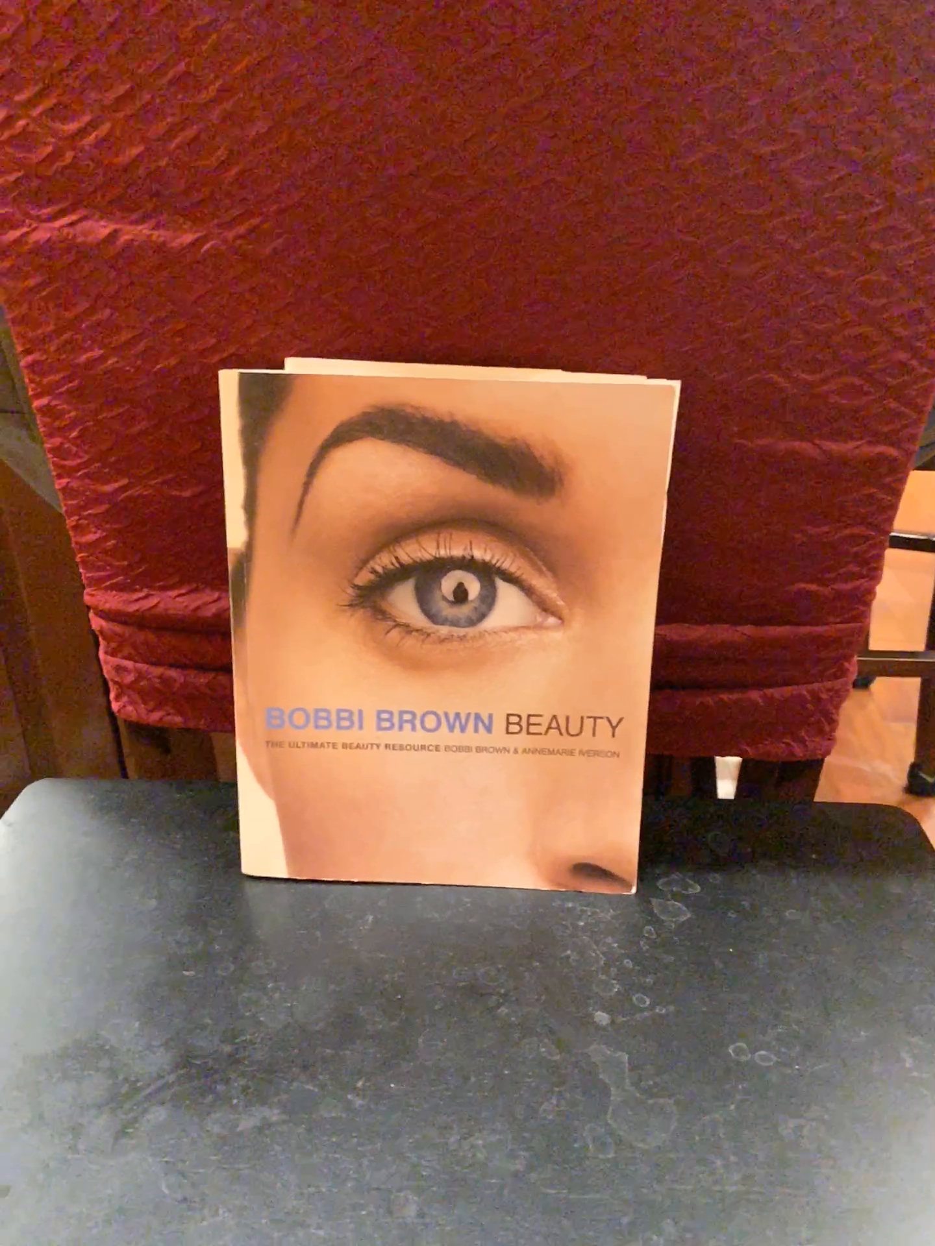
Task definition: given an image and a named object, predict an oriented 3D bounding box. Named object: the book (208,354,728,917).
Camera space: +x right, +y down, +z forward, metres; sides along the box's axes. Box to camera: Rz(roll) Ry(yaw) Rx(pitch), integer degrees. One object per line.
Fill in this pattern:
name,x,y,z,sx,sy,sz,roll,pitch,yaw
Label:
book,-0.002,0.010,0.416,0.200,0.239,0.030,2,17,3
